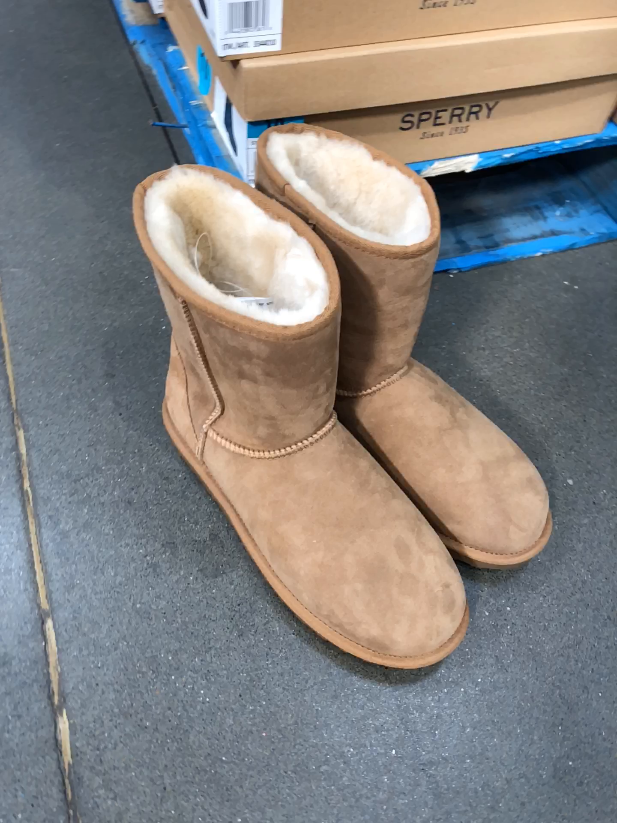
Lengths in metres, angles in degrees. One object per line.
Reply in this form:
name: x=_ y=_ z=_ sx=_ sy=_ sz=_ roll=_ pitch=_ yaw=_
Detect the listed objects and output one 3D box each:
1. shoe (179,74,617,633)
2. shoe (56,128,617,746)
shoe: x=0.066 y=-0.036 z=0.503 sx=0.310 sy=0.259 sz=0.130 roll=40 pitch=60 yaw=22
shoe: x=0.000 y=0.024 z=0.456 sx=0.130 sy=0.259 sz=0.310 roll=-34 pitch=64 yaw=-26
